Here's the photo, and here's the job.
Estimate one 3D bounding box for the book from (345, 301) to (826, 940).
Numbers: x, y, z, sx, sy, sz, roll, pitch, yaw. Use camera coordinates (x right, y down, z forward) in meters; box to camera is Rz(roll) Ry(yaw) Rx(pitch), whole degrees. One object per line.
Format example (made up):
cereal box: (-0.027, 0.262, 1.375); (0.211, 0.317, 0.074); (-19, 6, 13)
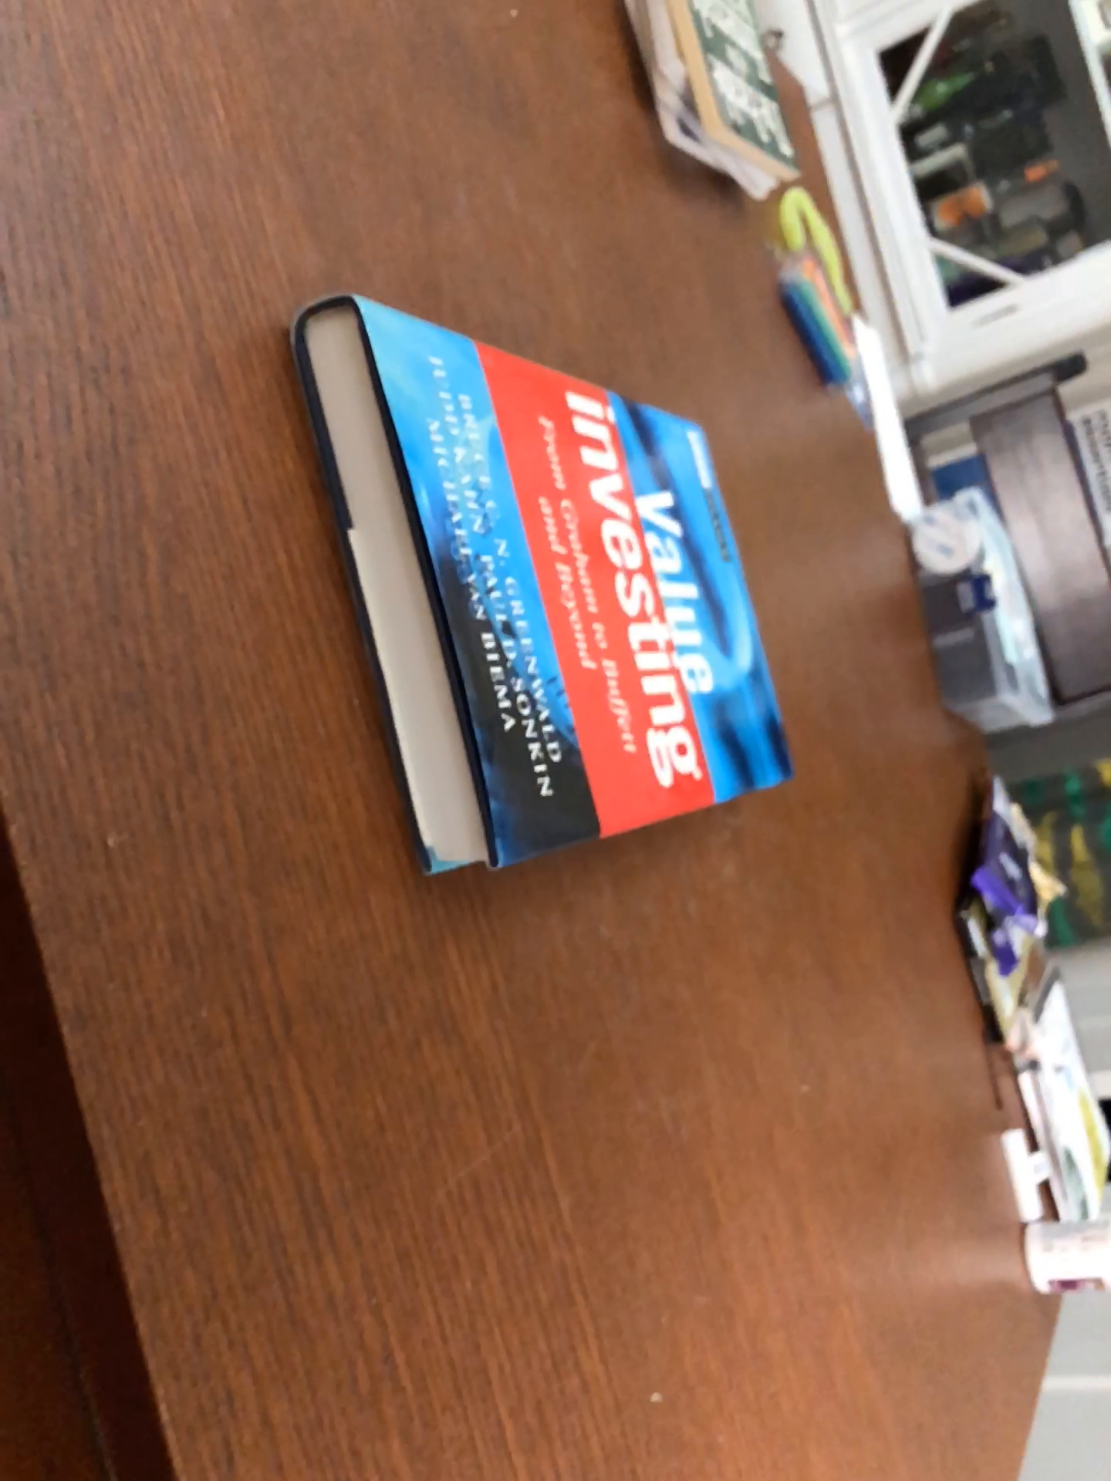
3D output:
book: (0.028, -0.039, 0.430); (0.231, 0.020, 0.170); (-7, 82, -60)
